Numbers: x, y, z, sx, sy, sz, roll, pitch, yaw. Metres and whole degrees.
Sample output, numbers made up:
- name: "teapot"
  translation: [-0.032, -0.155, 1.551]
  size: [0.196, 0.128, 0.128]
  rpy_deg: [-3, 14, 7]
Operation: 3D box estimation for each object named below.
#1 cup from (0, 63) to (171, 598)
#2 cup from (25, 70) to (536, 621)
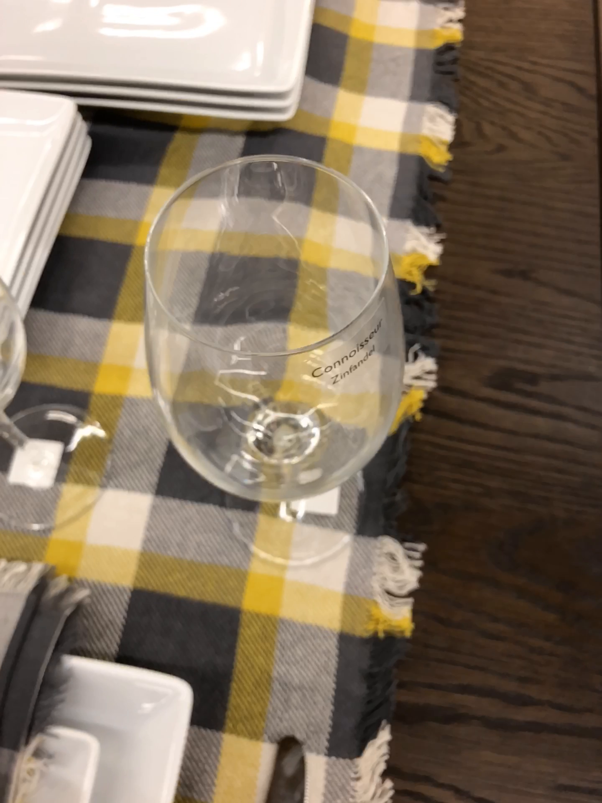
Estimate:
- name: "cup"
  translation: [-0.136, -0.006, 0.275]
  size: [0.092, 0.193, 0.096]
  rpy_deg: [0, 64, 1]
- name: "cup"
  translation: [-0.005, 0.002, 0.263]
  size: [0.092, 0.192, 0.096]
  rpy_deg: [0, 64, 1]
